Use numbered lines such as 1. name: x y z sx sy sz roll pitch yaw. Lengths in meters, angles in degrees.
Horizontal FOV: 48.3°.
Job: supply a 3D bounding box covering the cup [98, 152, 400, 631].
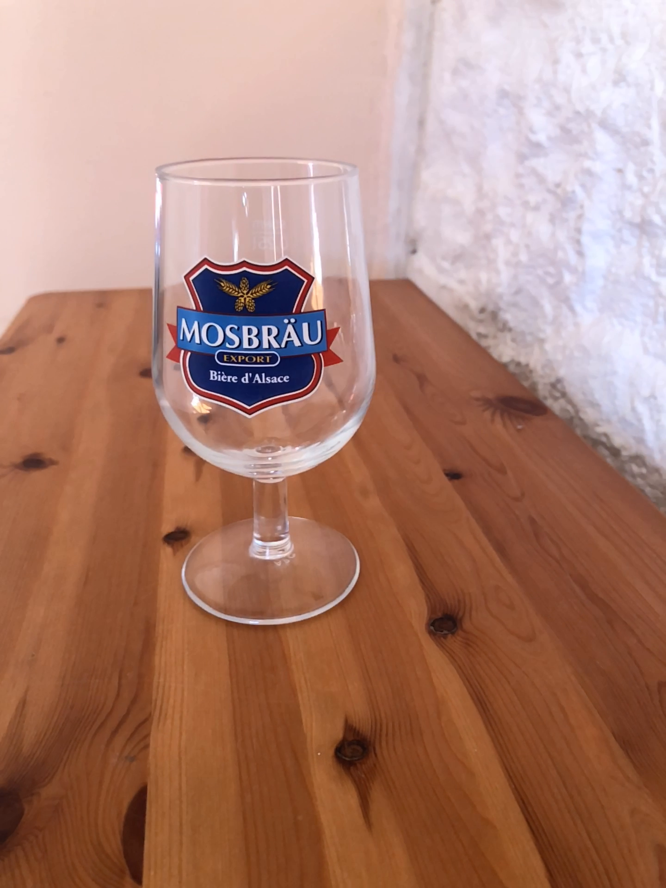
1. cup: -0.022 -0.020 0.256 0.079 0.142 0.077 2 25 -1
